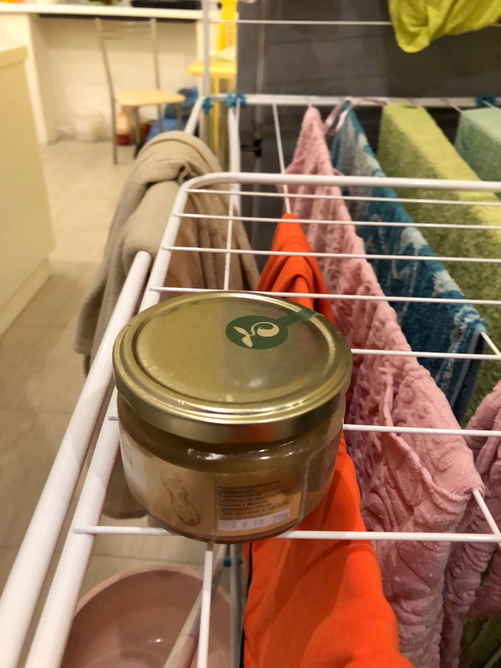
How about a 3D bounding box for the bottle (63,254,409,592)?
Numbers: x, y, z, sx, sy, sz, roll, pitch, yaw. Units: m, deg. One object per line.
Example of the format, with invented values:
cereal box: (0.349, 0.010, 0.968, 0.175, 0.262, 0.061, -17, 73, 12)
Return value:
bottle: (-0.011, 0.022, 0.208, 0.090, 0.060, 0.090, 1, 33, -1)
